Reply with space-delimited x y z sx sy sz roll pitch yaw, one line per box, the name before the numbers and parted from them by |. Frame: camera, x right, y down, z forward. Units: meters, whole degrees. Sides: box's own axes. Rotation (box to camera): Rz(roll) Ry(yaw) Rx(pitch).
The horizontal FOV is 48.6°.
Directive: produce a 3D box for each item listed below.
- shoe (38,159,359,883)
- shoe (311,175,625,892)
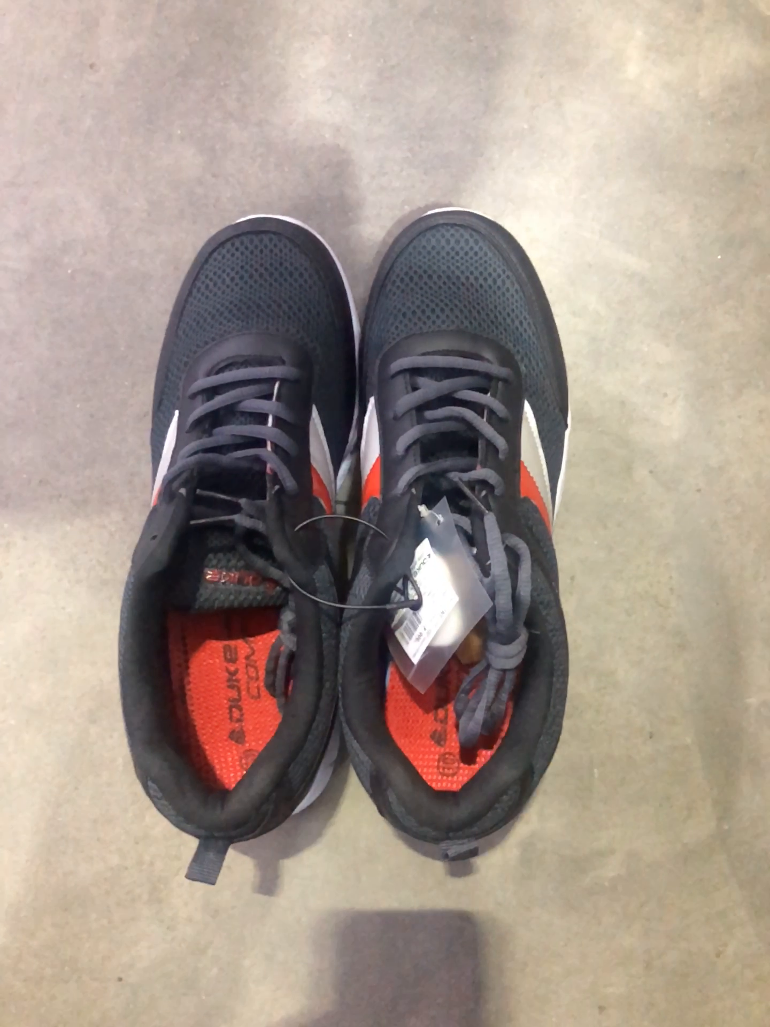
shoe | -0.072 0.003 0.370 0.110 0.100 0.270 -1 85 2
shoe | 0.035 0.006 0.376 0.110 0.100 0.270 2 85 3
